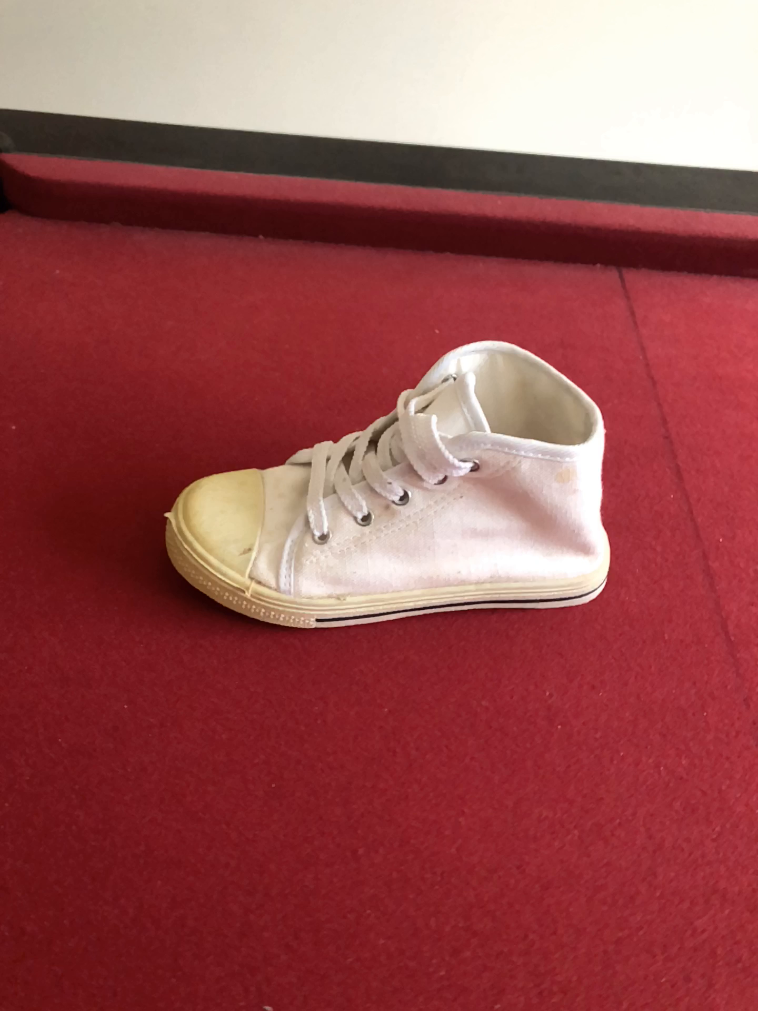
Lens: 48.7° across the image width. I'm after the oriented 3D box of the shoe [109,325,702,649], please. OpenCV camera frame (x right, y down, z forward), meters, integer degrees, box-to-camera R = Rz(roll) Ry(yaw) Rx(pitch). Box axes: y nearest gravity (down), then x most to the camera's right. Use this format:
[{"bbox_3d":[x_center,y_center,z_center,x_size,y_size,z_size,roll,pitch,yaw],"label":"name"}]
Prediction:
[{"bbox_3d":[0.006,-0.013,0.373,0.220,0.089,0.101,-3,42,-8],"label":"shoe"}]
